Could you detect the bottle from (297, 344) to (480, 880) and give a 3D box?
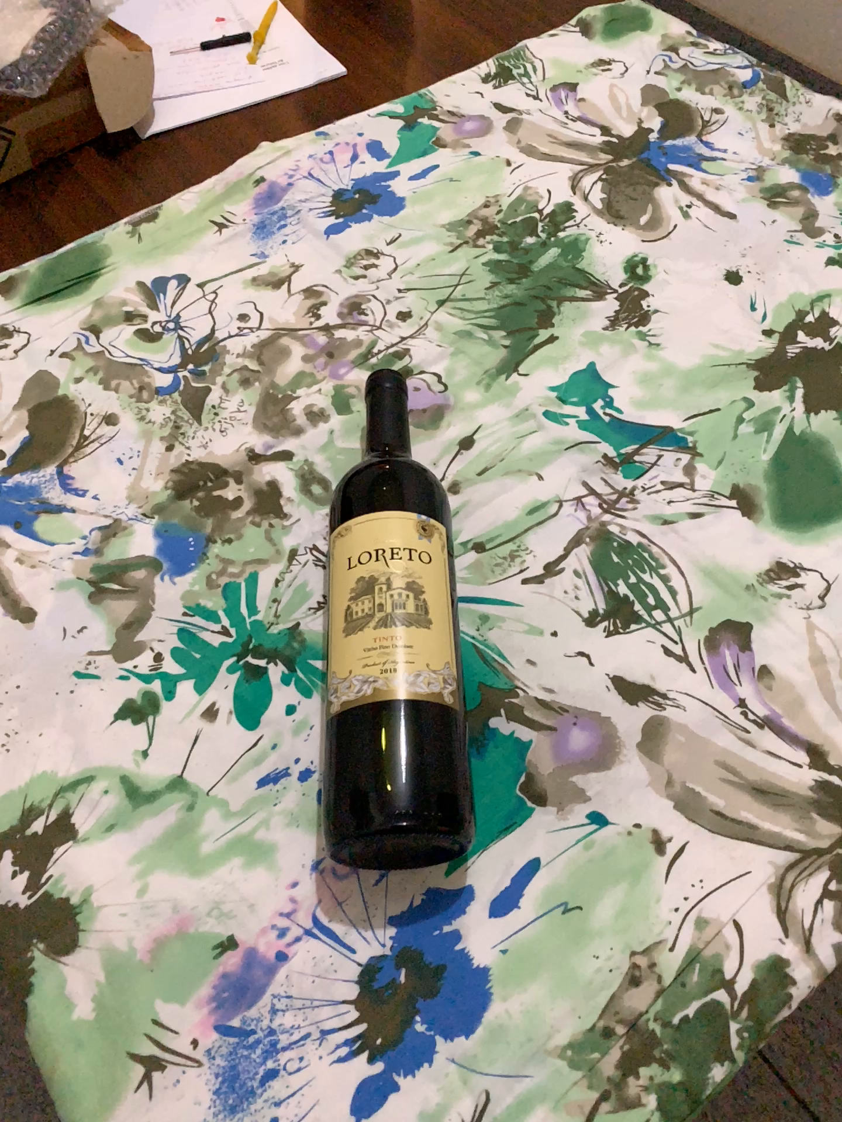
[{"bbox_3d":[-0.021,0.009,0.481,0.080,0.050,0.311,-2,58,-1],"label":"bottle"}]
